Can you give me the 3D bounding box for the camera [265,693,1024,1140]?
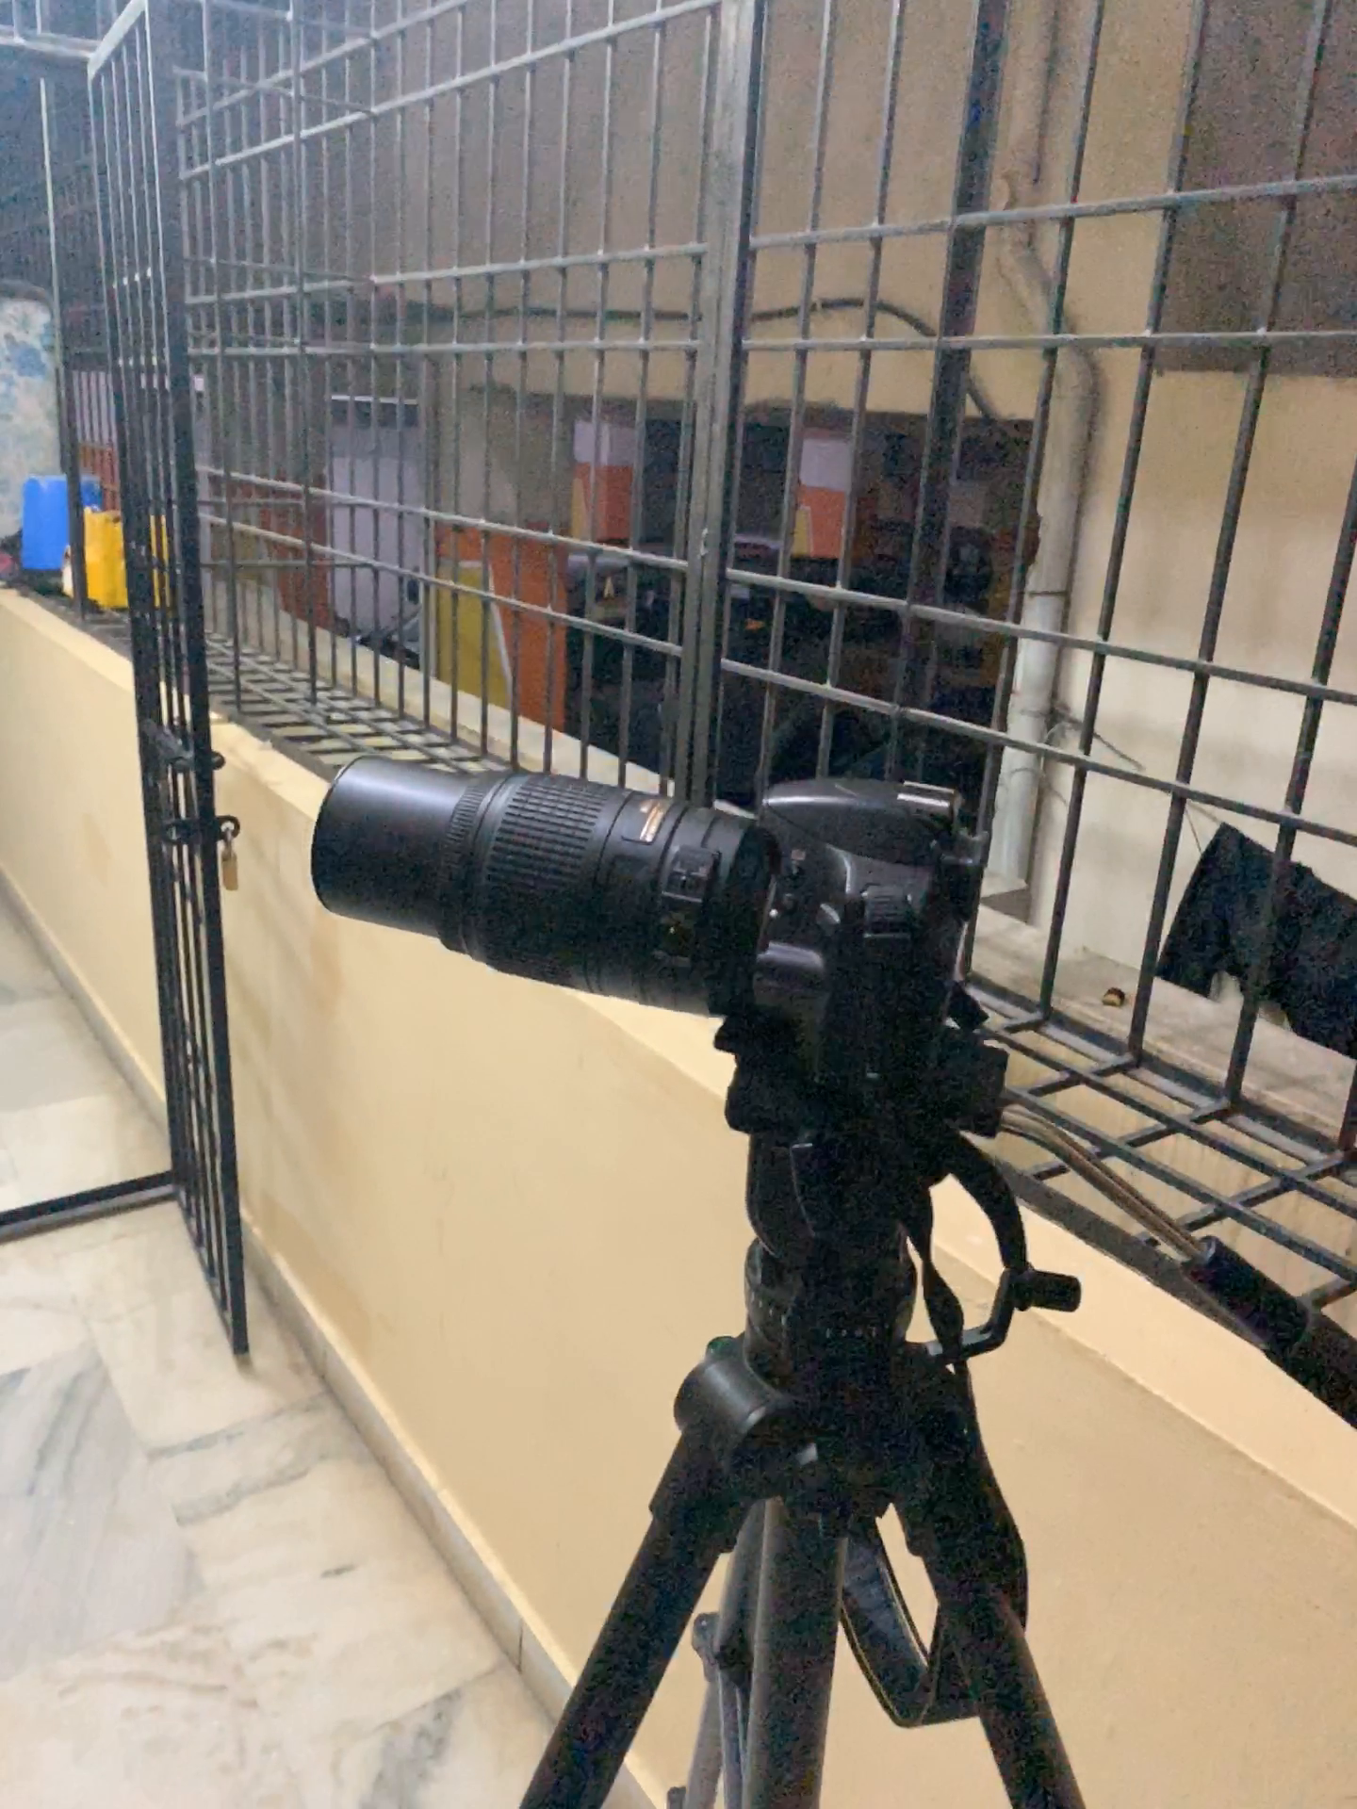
[{"bbox_3d":[-0.007,-0.007,0.481,0.230,0.090,0.120,8,20,14],"label":"camera"}]
